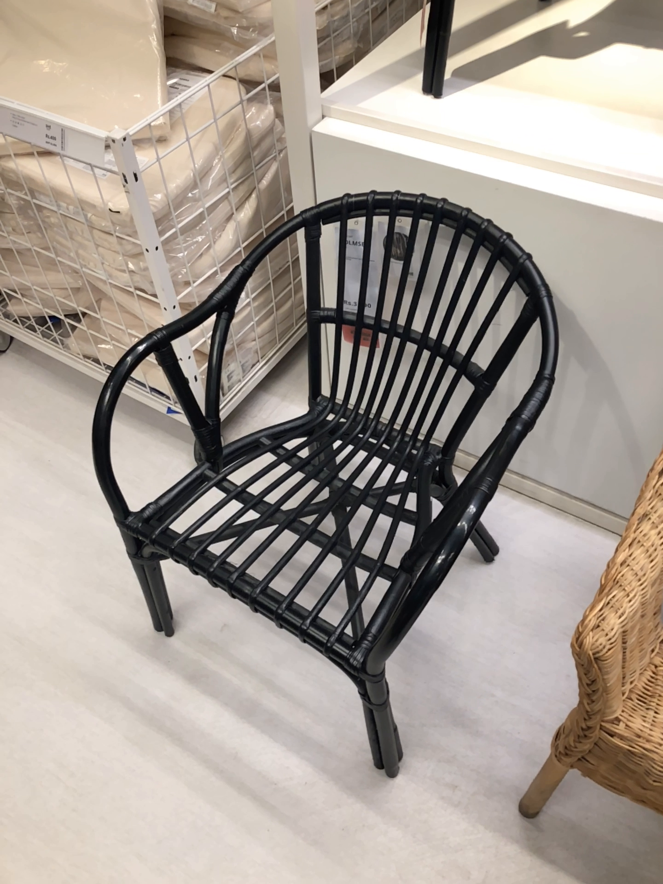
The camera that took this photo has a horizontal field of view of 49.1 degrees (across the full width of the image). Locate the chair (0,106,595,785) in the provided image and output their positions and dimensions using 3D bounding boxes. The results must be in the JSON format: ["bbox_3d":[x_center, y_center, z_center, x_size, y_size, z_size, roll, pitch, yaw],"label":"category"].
[{"bbox_3d":[-0.044,0.034,1.077,0.551,0.755,0.472,25,56,23],"label":"chair"}]
